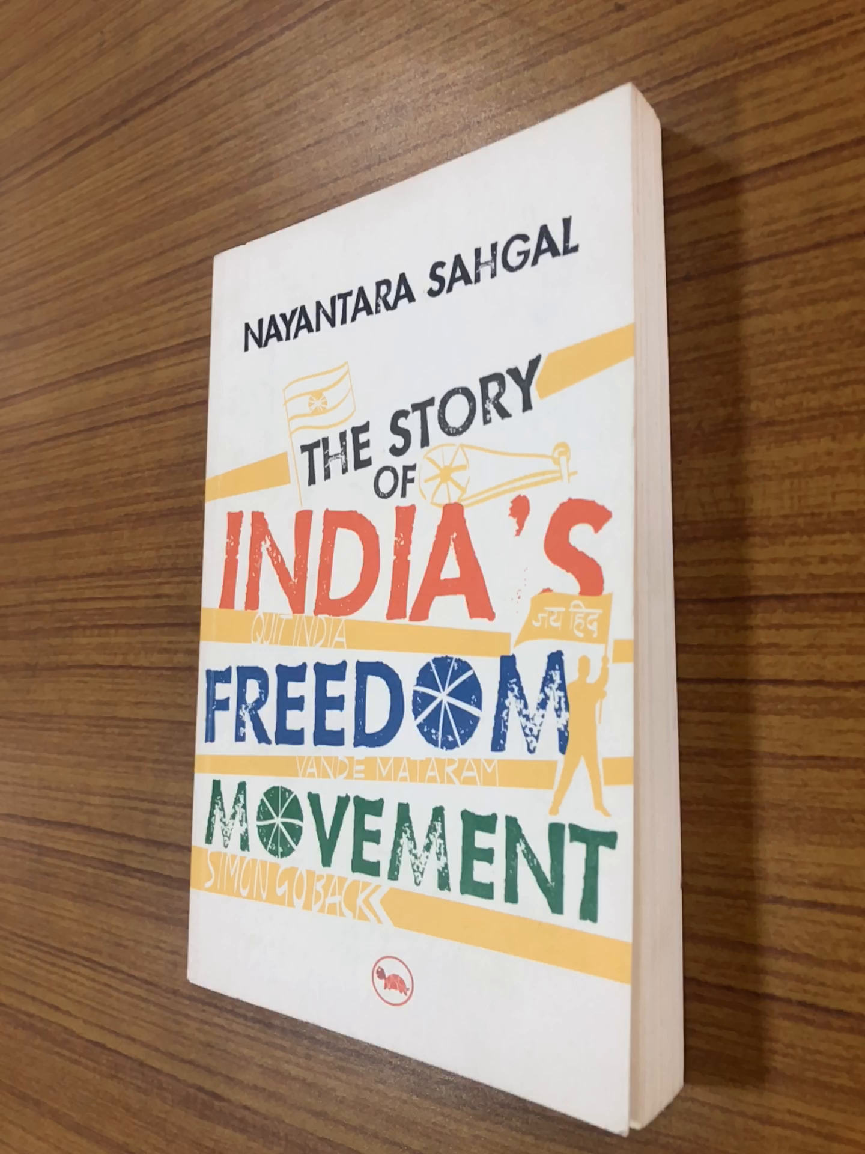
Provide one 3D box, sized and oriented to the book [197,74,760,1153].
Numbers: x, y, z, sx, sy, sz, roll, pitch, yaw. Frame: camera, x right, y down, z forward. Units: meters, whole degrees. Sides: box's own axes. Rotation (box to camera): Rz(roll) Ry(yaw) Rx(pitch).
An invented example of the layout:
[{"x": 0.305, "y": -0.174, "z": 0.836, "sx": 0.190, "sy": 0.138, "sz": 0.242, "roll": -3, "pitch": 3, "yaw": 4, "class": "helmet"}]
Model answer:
[{"x": 0.003, "y": 0.006, "z": 0.223, "sx": 0.131, "sy": 0.030, "sz": 0.190, "roll": -5, "pitch": 81, "yaw": 39, "class": "book"}]
